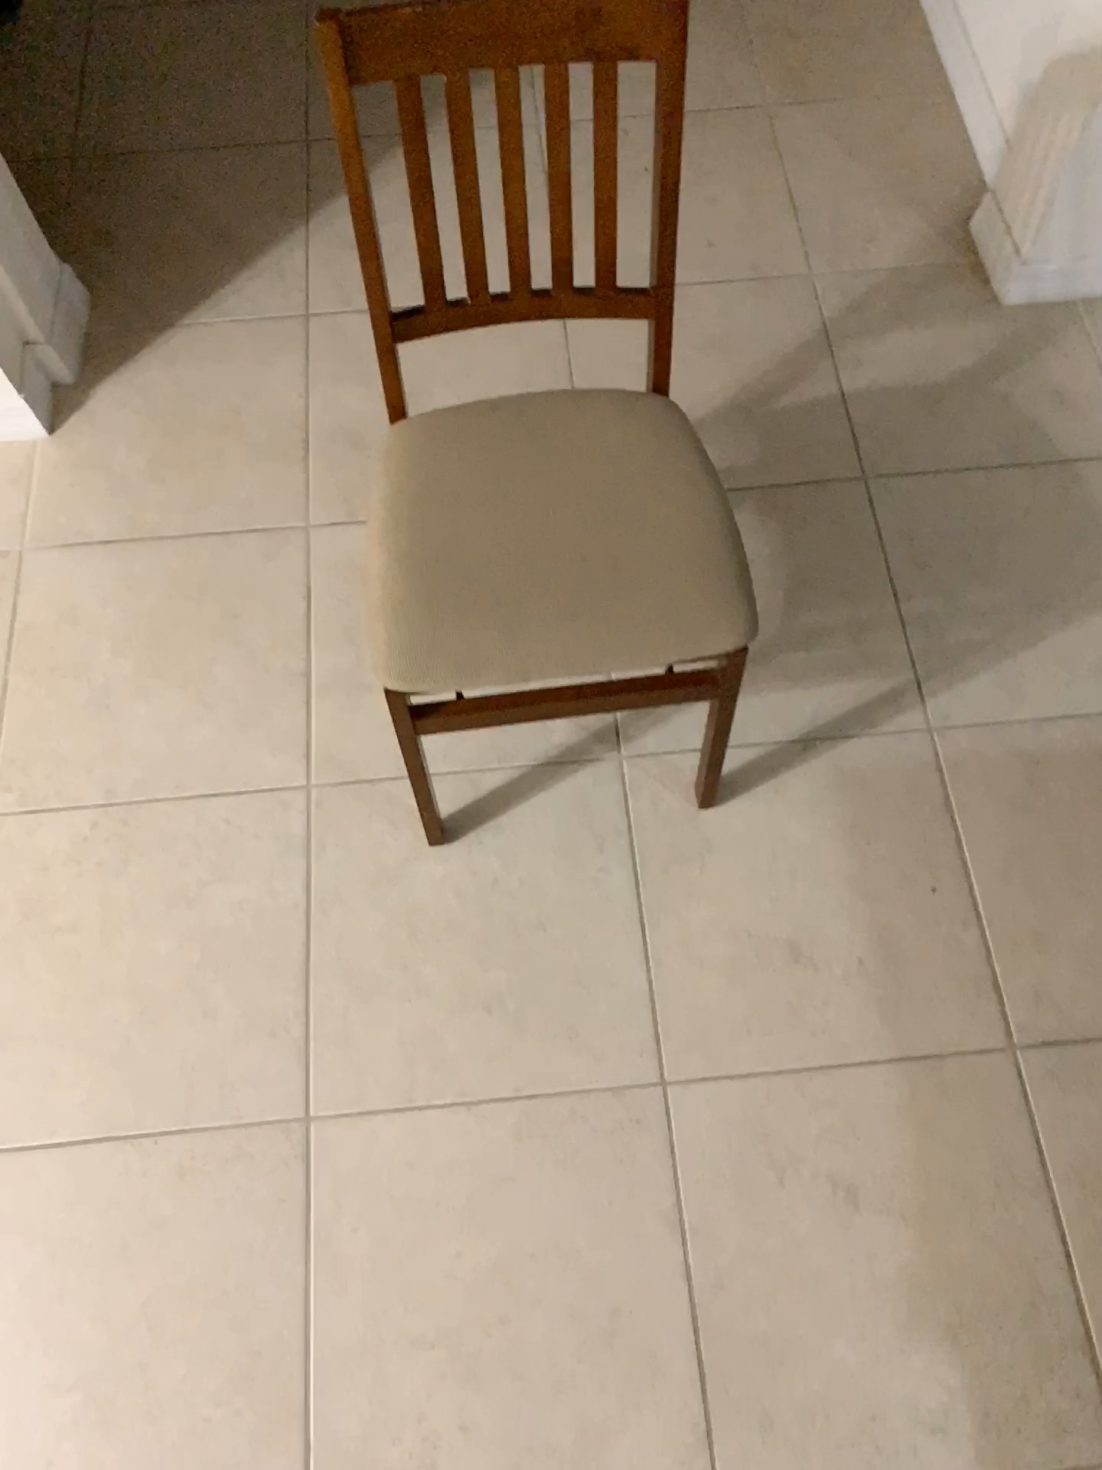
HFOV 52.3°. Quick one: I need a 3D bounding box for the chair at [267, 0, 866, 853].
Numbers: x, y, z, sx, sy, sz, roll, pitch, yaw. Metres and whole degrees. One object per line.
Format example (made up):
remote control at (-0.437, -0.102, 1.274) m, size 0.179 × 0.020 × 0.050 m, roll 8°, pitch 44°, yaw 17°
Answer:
chair at (-0.010, -0.305, 1.368) m, size 0.450 × 0.884 × 0.594 m, roll -6°, pitch 65°, yaw -2°
